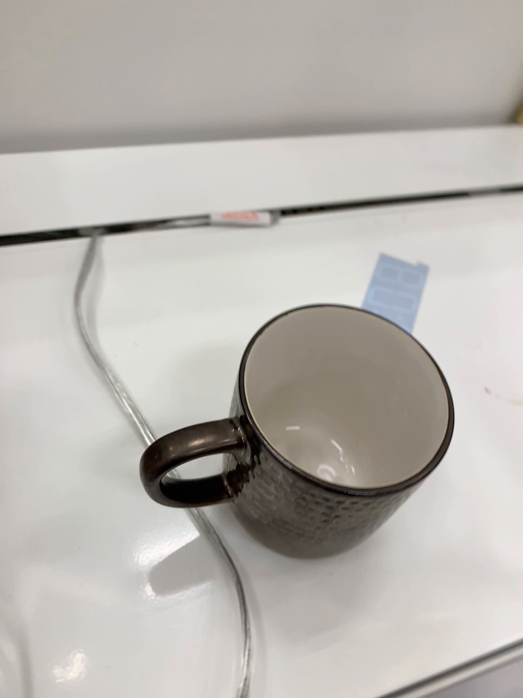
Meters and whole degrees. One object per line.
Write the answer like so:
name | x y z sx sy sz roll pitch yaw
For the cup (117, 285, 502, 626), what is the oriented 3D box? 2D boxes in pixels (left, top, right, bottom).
cup | 0.011 0.047 0.258 0.131 0.093 0.095 -13 58 -19
